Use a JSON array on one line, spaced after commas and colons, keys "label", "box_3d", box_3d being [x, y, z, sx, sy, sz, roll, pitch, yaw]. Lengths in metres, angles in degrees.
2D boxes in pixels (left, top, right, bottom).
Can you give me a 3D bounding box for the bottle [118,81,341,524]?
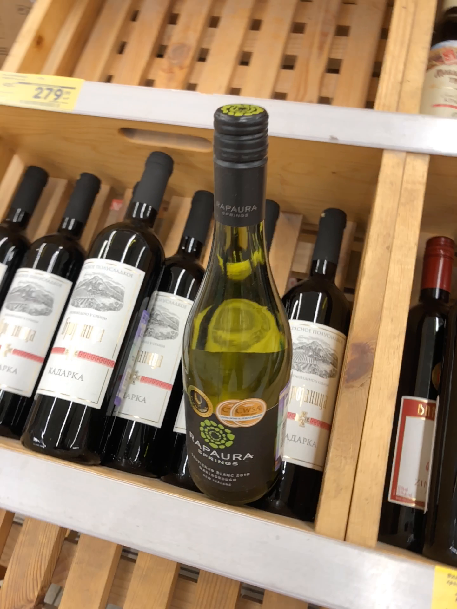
[{"label": "bottle", "box_3d": [0.004, 0.015, 0.347, 0.090, 0.288, 0.090, 1, 36, 0]}]
